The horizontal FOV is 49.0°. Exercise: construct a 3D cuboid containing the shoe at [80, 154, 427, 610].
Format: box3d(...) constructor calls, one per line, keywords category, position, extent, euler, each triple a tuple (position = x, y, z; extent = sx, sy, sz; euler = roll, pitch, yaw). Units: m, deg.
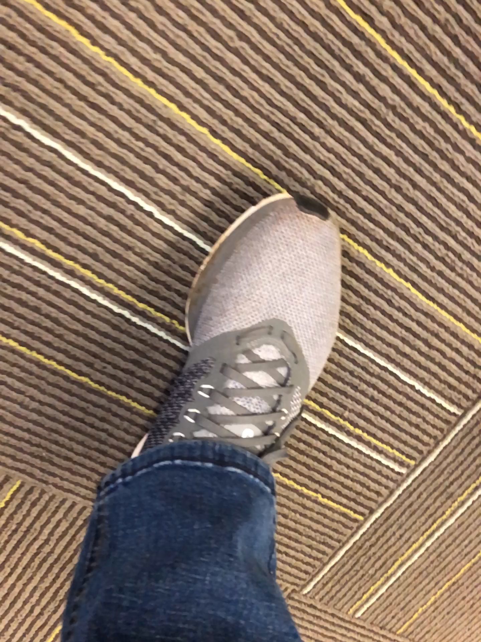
box3d(category="shoe", position=(0.000, 0.051, 0.377), extent=(0.120, 0.060, 0.300), euler=(21, 101, -17))
